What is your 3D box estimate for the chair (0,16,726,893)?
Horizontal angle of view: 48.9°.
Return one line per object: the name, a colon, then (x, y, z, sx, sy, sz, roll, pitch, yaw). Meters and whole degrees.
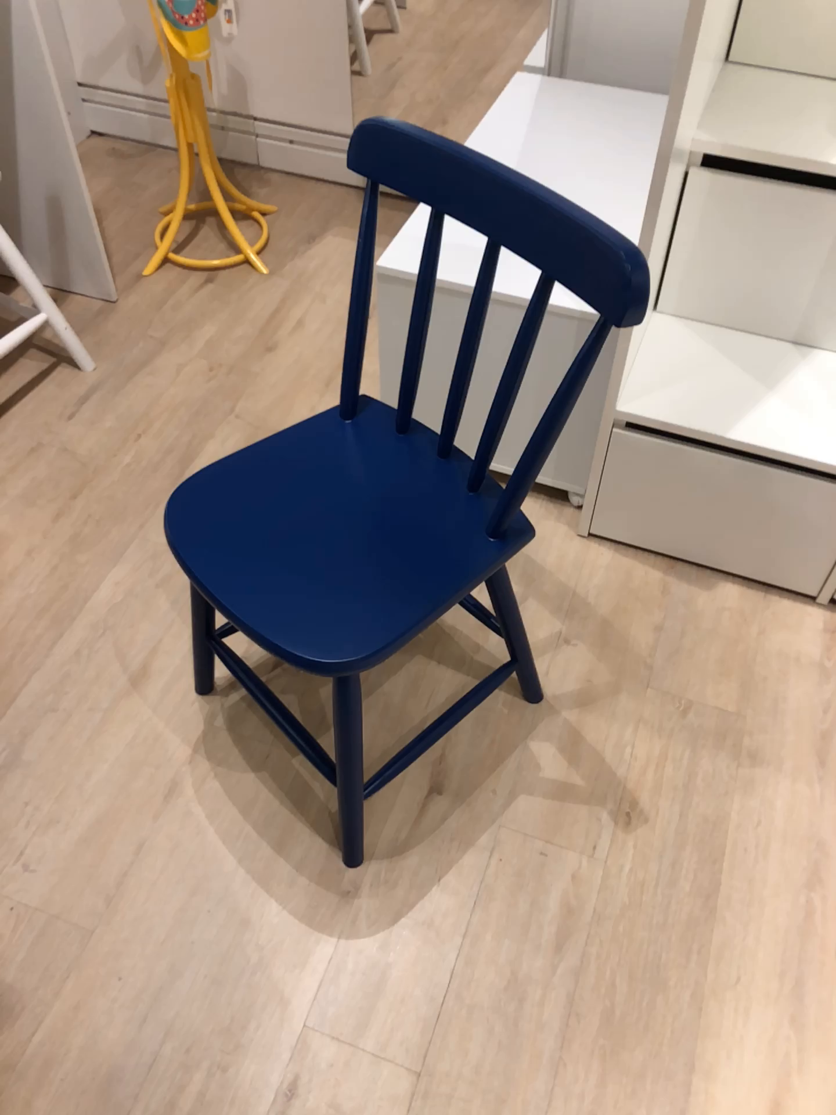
chair: (-0.073, -0.078, 1.097, 0.481, 0.805, 0.462, -33, 58, -25)
